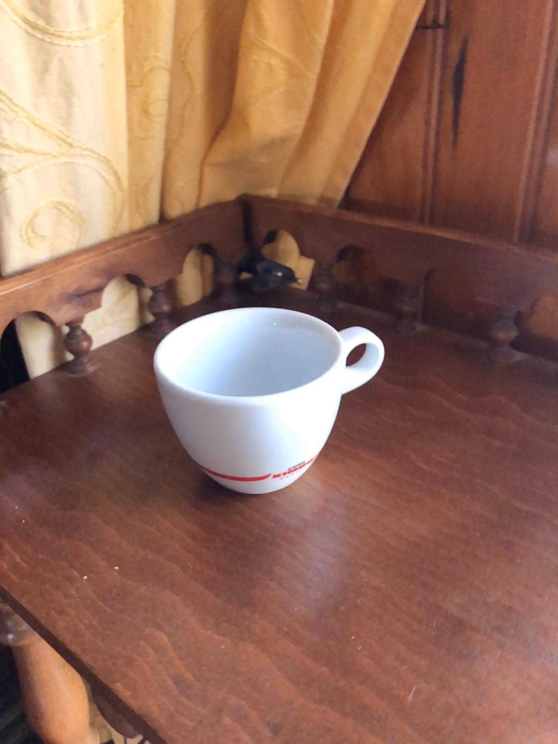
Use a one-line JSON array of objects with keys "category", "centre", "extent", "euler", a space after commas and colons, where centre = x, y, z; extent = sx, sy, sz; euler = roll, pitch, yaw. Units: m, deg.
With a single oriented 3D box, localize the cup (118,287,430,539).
[{"category": "cup", "centre": [-0.005, 0.010, 0.287], "extent": [0.110, 0.050, 0.090], "euler": [-15, 33, -21]}]
